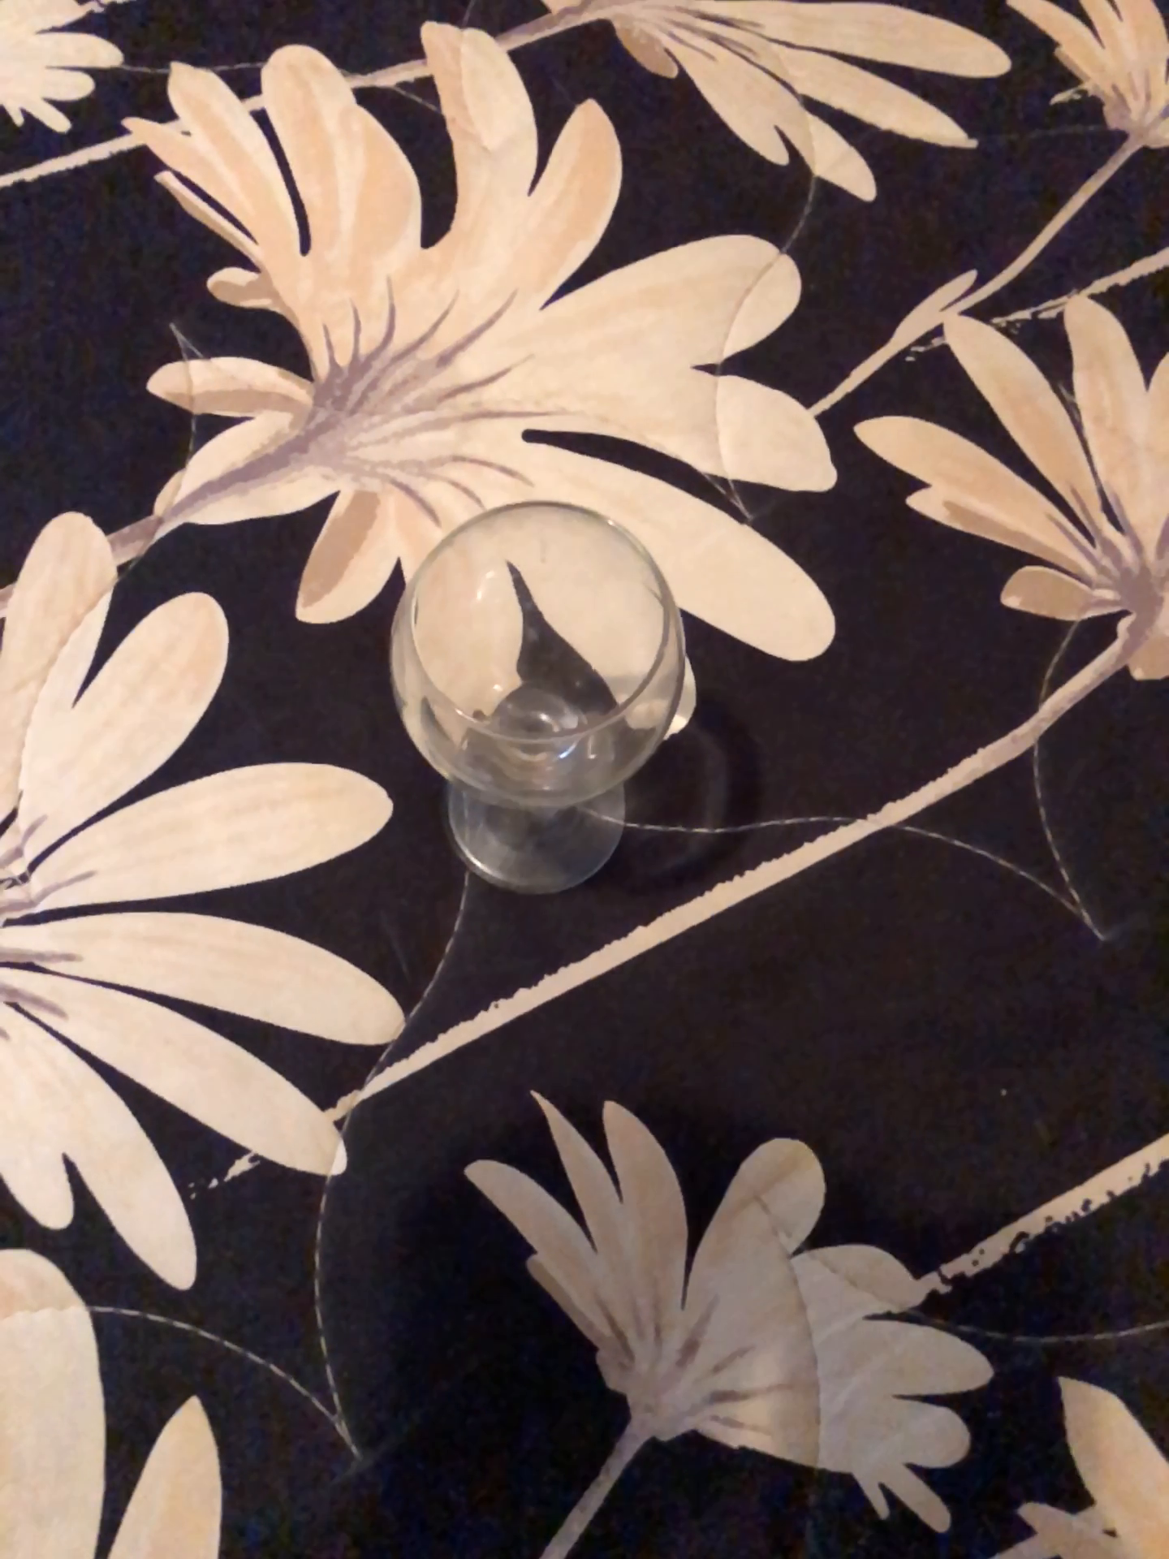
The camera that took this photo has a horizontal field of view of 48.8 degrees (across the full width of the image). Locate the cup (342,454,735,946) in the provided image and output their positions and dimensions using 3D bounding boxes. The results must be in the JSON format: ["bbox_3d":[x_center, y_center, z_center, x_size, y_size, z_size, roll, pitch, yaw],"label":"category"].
[{"bbox_3d":[-0.014,-0.013,0.368,0.082,0.139,0.084,1,71,-2],"label":"cup"}]
